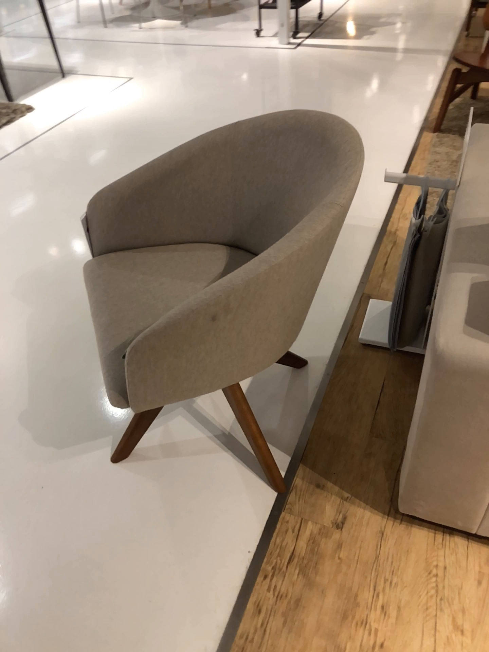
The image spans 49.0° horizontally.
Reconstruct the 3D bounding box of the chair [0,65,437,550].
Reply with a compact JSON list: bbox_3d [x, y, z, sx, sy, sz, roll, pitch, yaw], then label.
[{"bbox_3d":[-0.098,-0.074,1.332,0.710,0.794,0.695,-16,42,-11],"label":"chair"}]
